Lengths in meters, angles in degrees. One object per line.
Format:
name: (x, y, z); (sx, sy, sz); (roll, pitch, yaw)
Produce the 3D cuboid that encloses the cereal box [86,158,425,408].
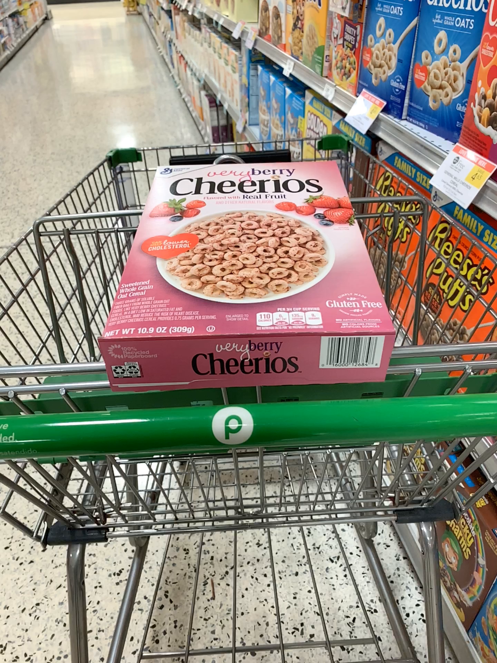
cereal box: (0.004, -0.064, 0.444); (0.210, 0.059, 0.283); (-2, 40, 1)
